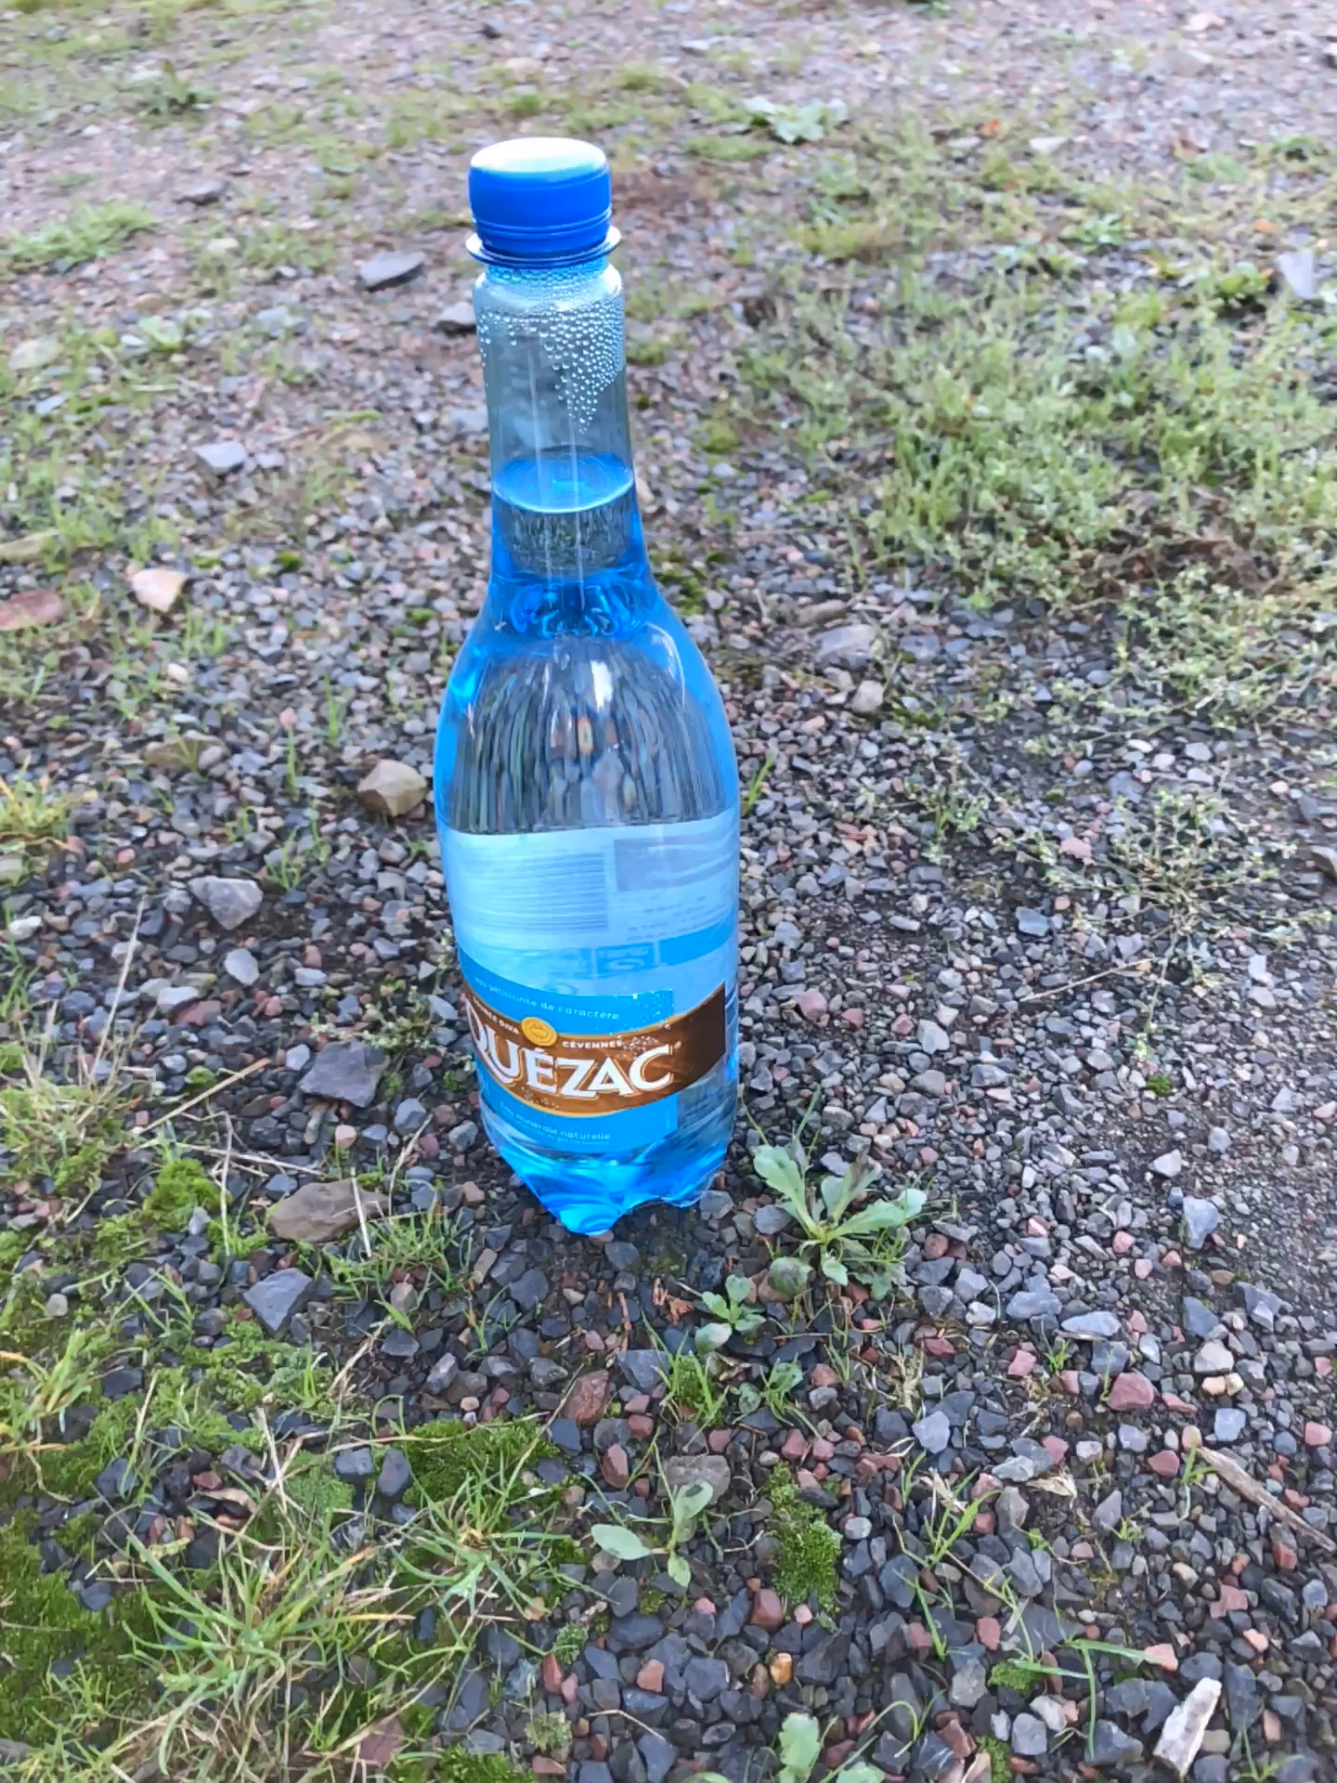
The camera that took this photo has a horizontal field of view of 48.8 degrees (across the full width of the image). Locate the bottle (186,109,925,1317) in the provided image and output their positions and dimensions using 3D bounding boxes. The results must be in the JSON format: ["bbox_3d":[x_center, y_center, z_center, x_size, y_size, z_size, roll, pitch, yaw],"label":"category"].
[{"bbox_3d":[-0.015,-0.029,0.403,0.110,0.298,0.111,-1,43,1],"label":"bottle"}]
